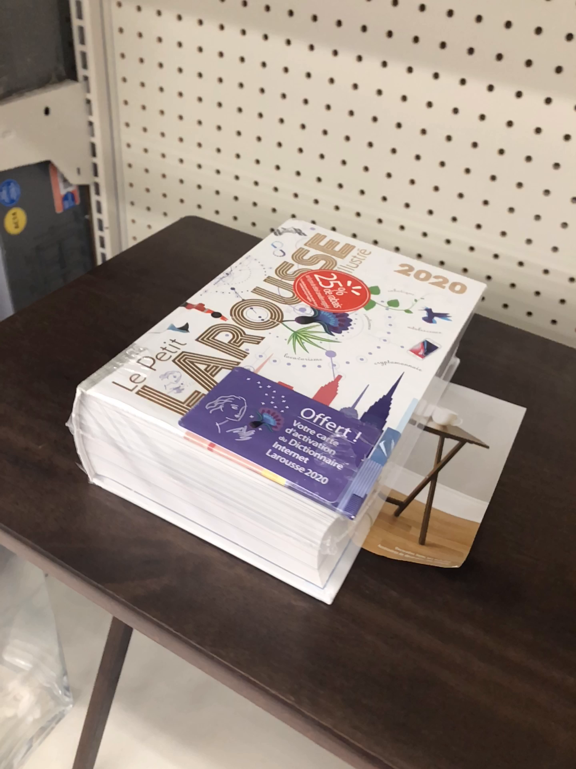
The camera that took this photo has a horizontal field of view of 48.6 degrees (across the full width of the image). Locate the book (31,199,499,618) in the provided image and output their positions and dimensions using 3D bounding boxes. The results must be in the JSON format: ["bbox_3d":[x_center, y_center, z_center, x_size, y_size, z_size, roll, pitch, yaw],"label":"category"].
[{"bbox_3d":[0.004,-0.014,0.377,0.170,0.069,0.232,22,42,17],"label":"book"}]
